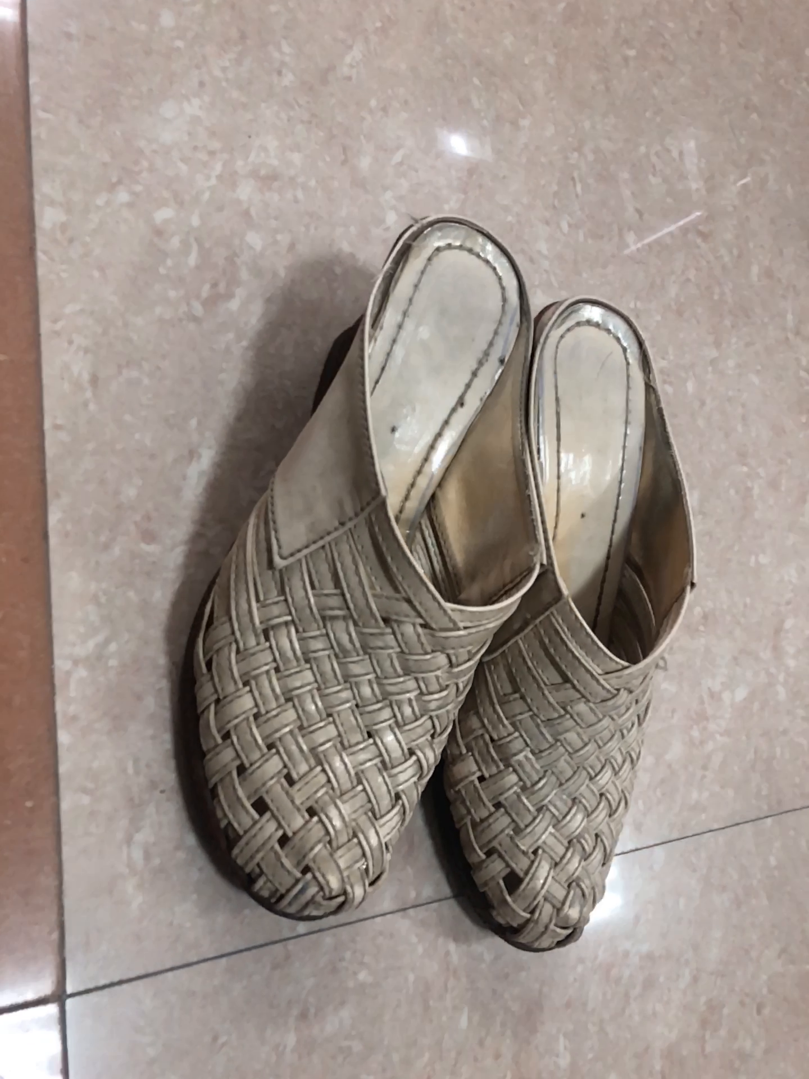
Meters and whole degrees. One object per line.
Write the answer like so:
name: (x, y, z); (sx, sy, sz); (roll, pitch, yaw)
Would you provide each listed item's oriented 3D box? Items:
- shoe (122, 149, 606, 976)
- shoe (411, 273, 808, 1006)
shoe: (-0.006, 0.009, 0.293); (0.100, 0.085, 0.225); (18, 66, -27)
shoe: (0.071, 0.034, 0.329); (0.100, 0.085, 0.221); (7, 72, -30)
